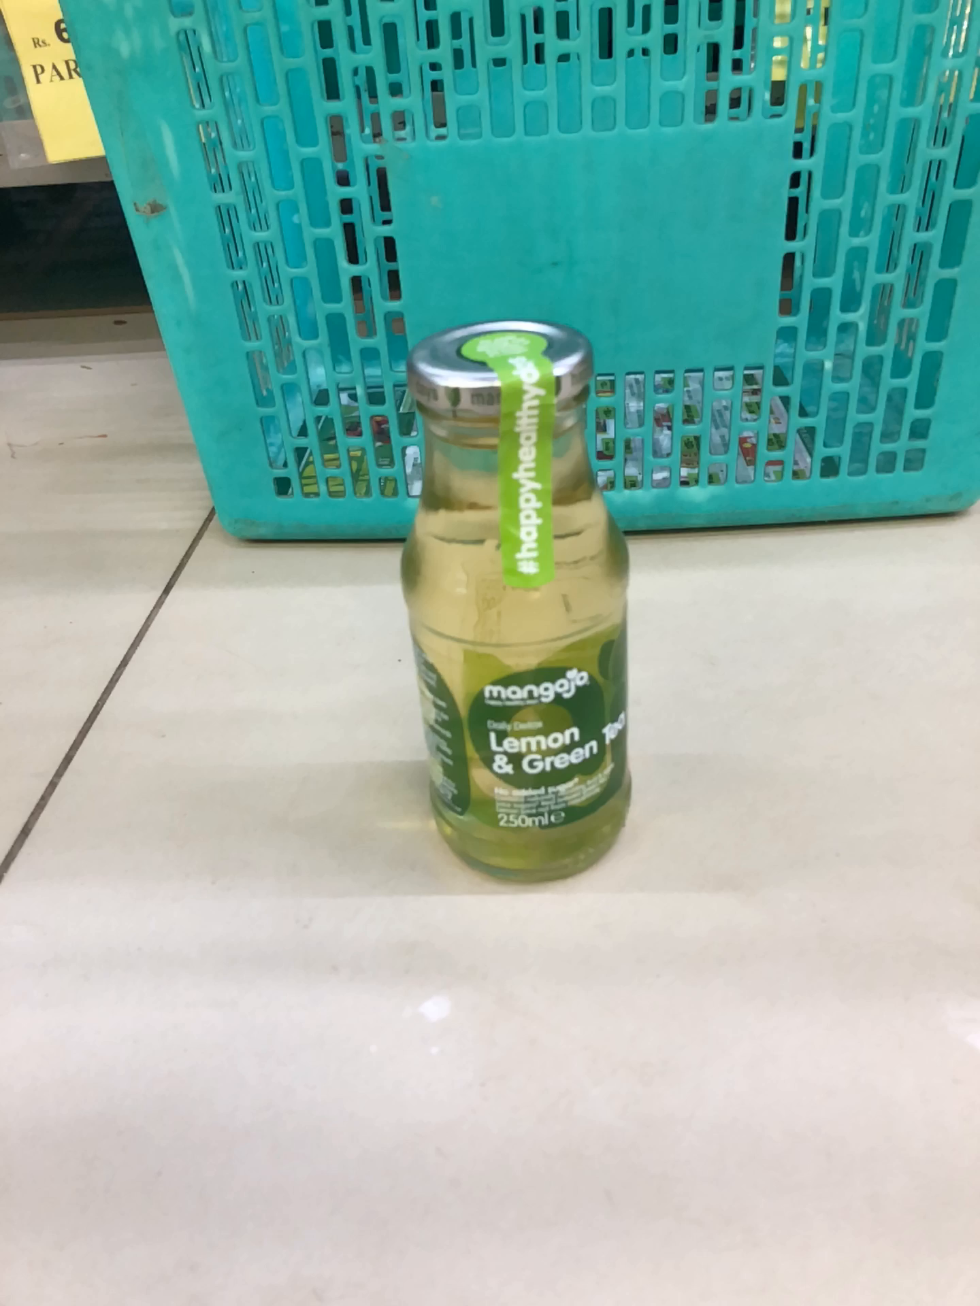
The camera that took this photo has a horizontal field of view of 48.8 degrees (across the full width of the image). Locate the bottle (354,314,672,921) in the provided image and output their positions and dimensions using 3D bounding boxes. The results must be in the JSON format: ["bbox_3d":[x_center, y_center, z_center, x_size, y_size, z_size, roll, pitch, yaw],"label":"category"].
[{"bbox_3d":[0.007,-0.008,0.306,0.070,0.149,0.070,-3,32,2],"label":"bottle"}]
